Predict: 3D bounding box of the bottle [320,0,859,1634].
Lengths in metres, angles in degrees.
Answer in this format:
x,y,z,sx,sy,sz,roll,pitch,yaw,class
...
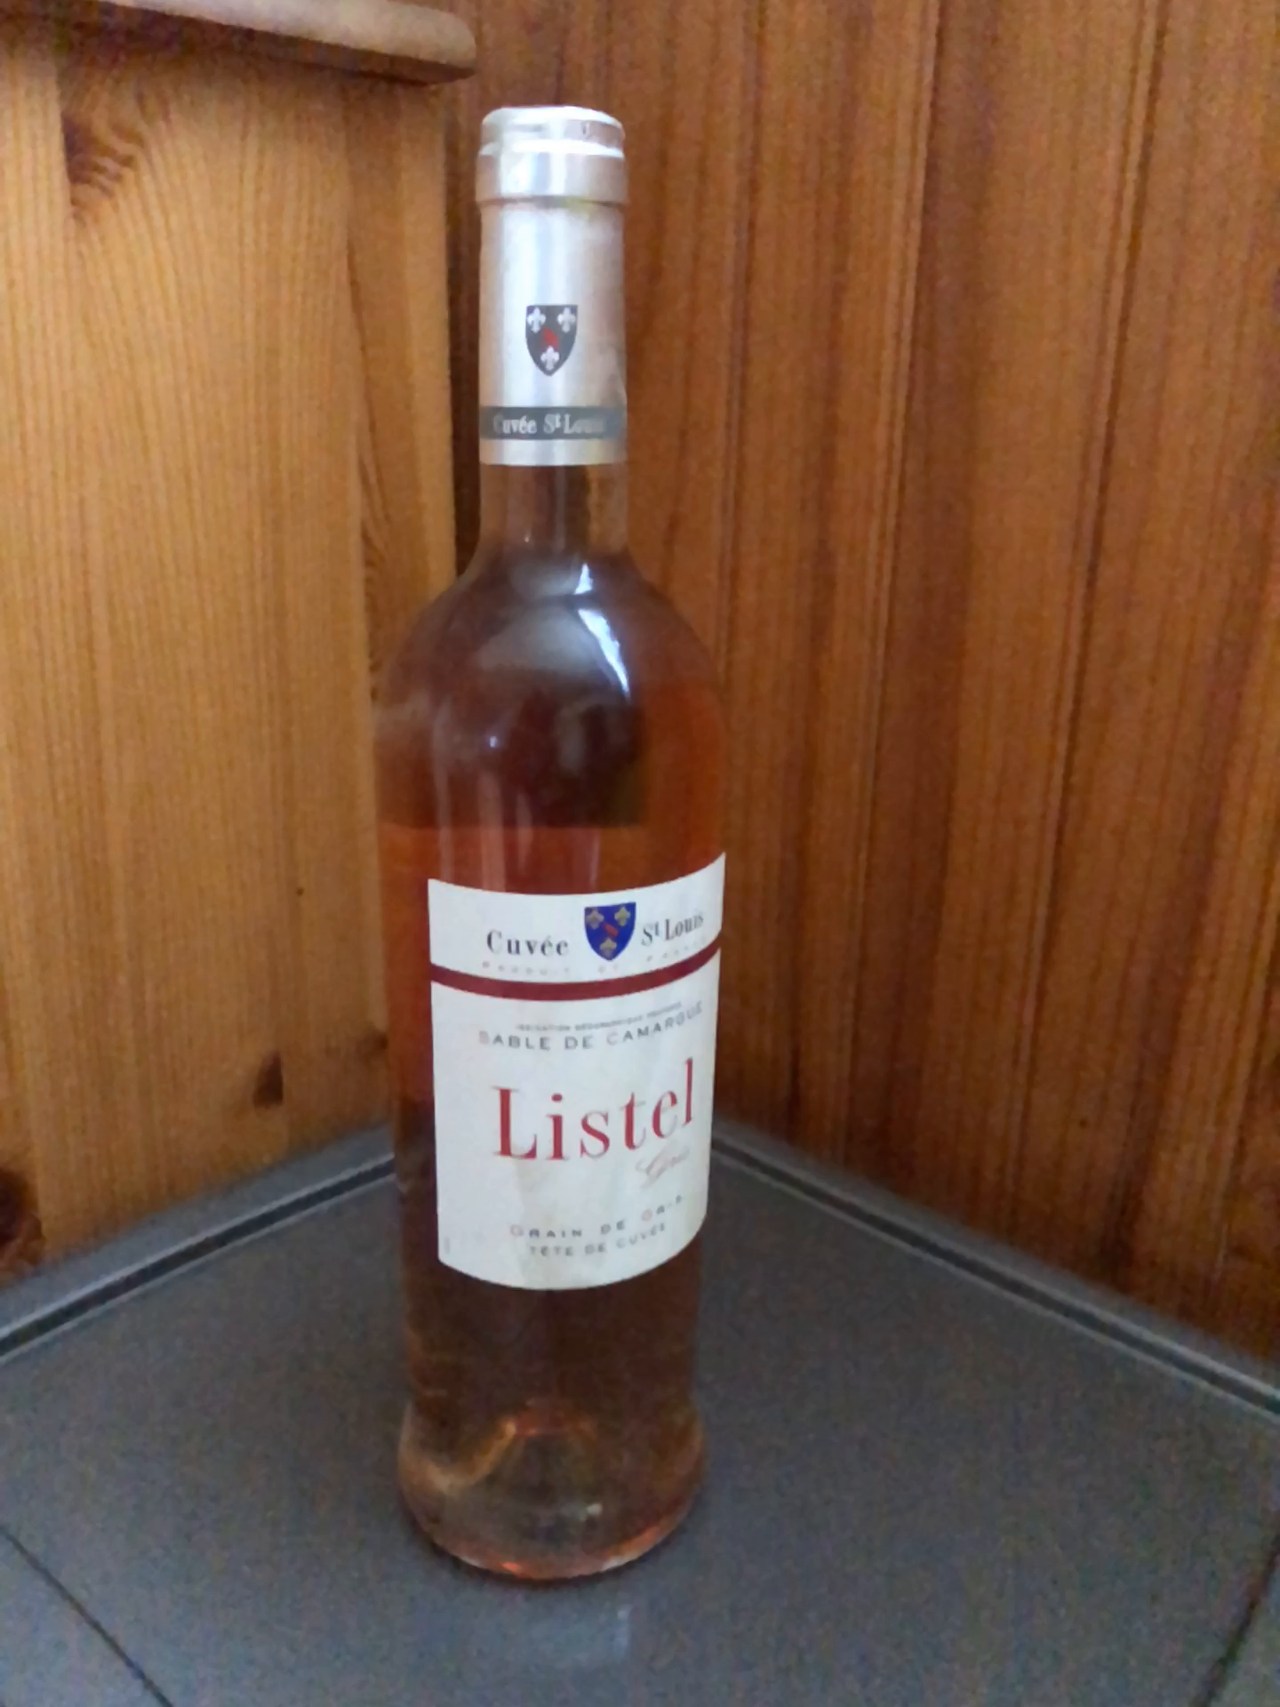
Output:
x,y,z,sx,sy,sz,roll,pitch,yaw,class
-0.017,0.004,0.313,0.080,0.319,0.080,1,17,0,bottle
